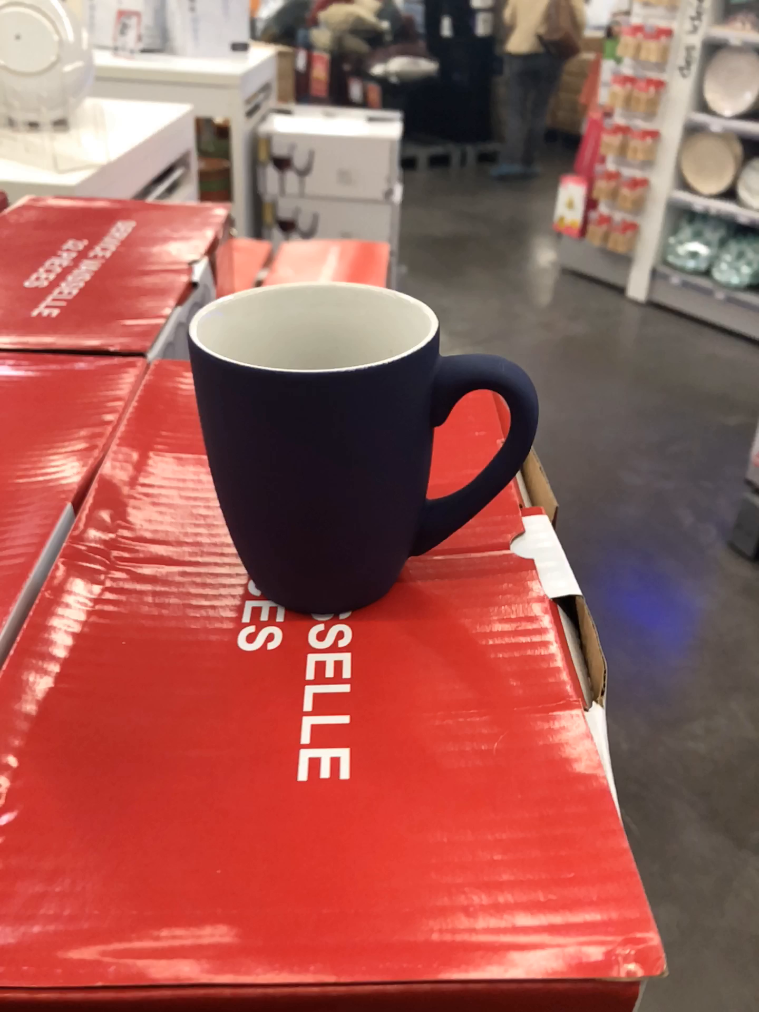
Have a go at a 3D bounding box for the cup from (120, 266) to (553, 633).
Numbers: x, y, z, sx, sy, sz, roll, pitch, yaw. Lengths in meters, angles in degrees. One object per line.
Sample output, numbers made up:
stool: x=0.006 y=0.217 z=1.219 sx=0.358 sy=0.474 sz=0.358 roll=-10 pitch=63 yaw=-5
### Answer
cup: x=-0.007 y=-0.024 z=0.294 sx=0.121 sy=0.087 sz=0.091 roll=3 pitch=35 yaw=6
